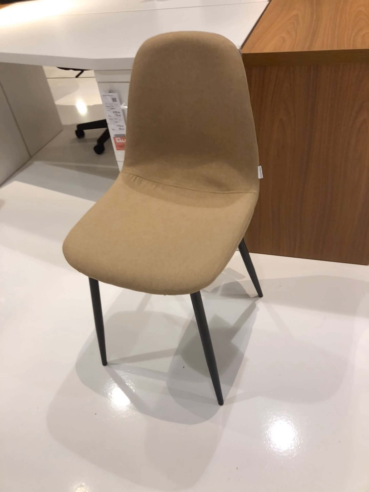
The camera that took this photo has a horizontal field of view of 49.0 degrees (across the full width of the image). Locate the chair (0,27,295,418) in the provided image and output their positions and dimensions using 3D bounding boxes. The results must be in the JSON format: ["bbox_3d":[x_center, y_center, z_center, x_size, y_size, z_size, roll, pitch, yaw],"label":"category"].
[{"bbox_3d":[-0.031,-0.063,1.059,0.481,0.784,0.523,11,44,23],"label":"chair"}]
